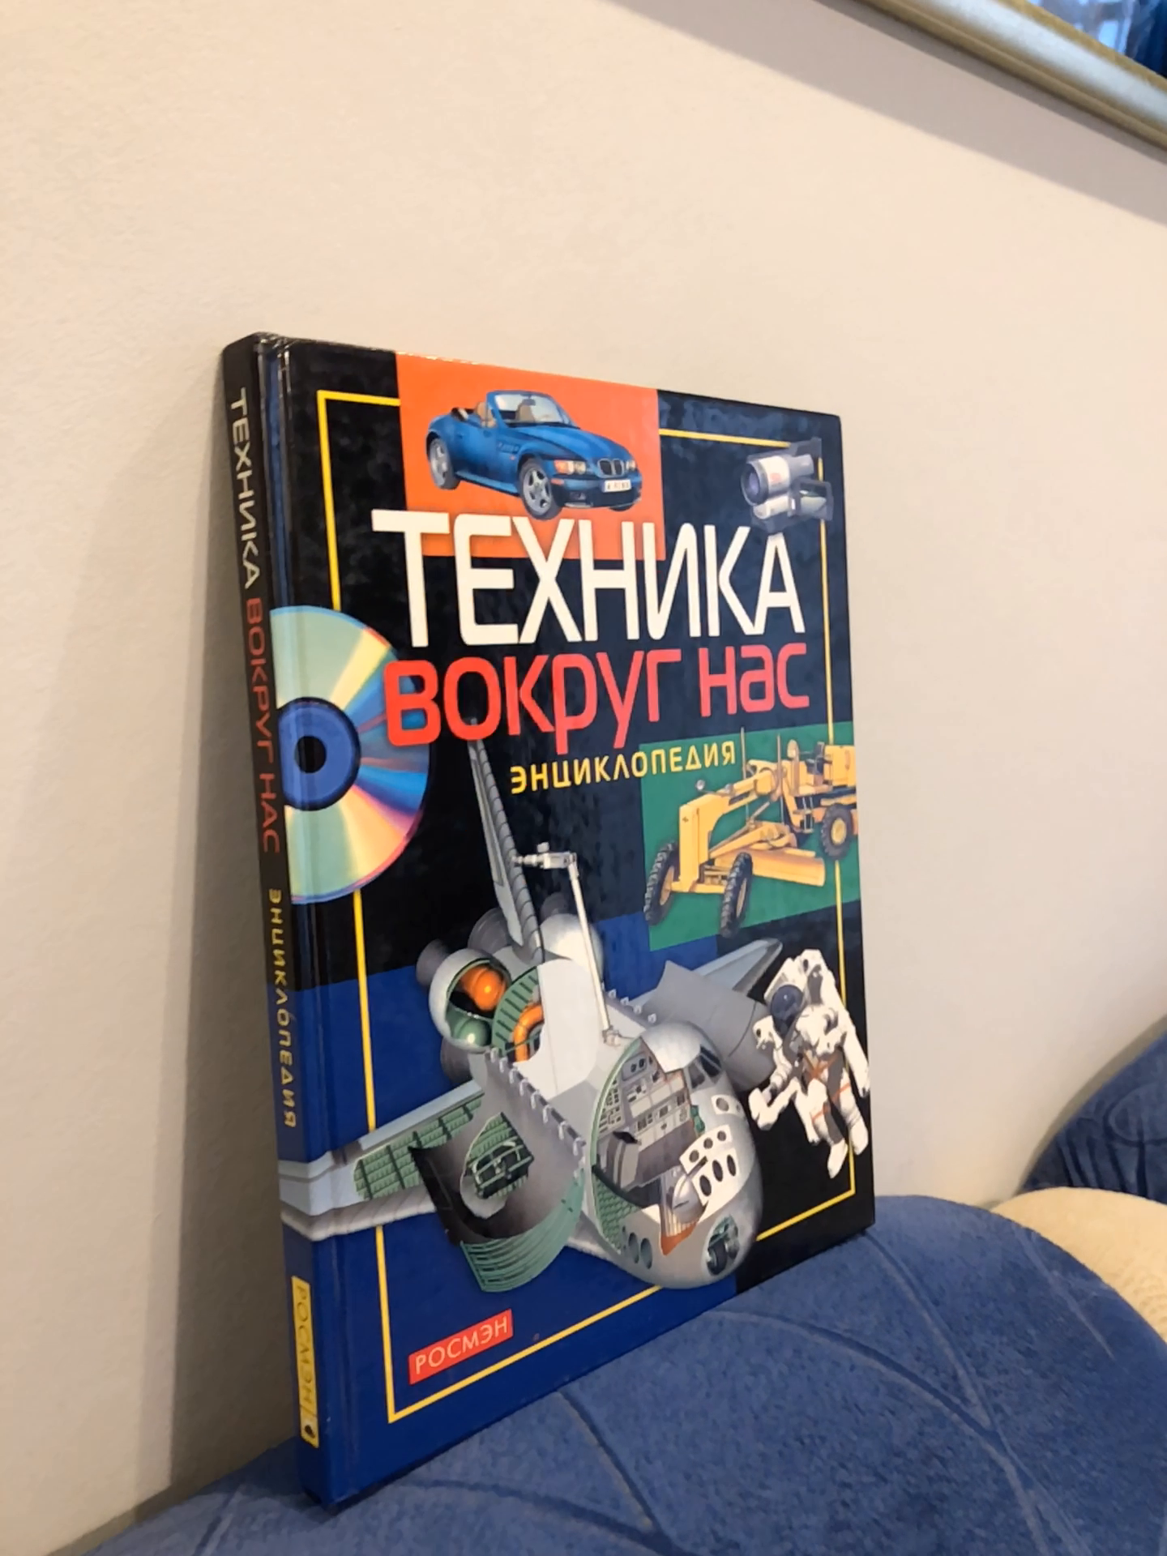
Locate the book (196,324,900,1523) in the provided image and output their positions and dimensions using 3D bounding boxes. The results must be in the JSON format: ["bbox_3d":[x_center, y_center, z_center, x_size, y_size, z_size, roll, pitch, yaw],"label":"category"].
[{"bbox_3d":[0.009,0.026,0.379,0.221,0.280,0.030,-7,6,-40],"label":"book"}]
